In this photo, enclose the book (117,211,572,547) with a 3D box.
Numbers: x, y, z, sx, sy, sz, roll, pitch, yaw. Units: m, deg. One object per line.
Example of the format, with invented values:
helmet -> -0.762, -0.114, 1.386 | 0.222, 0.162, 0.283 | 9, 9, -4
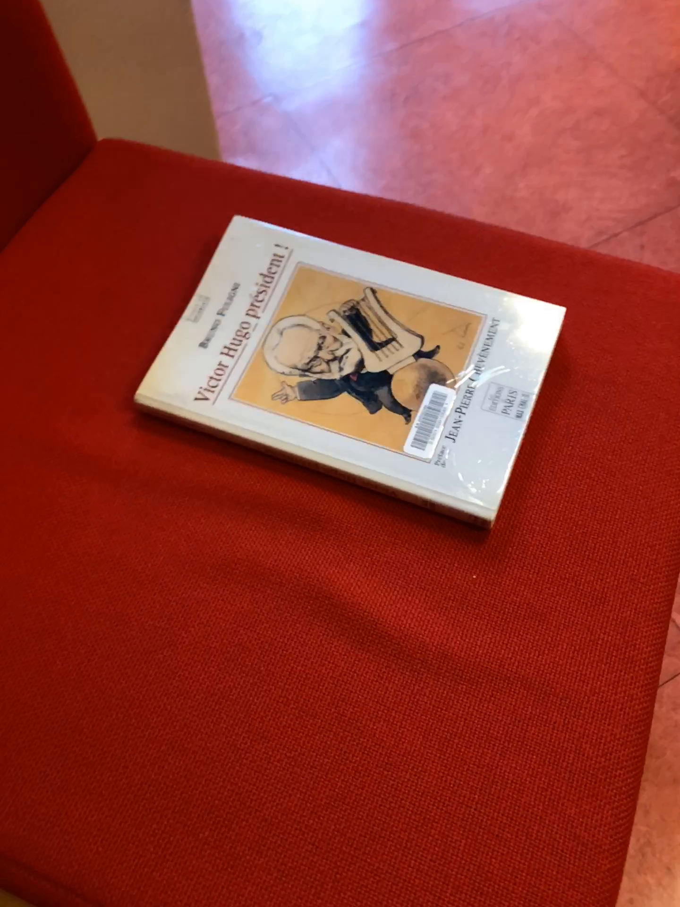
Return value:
book -> 0.006, -0.055, 0.470 | 0.236, 0.040, 0.152 | 18, 64, 11
